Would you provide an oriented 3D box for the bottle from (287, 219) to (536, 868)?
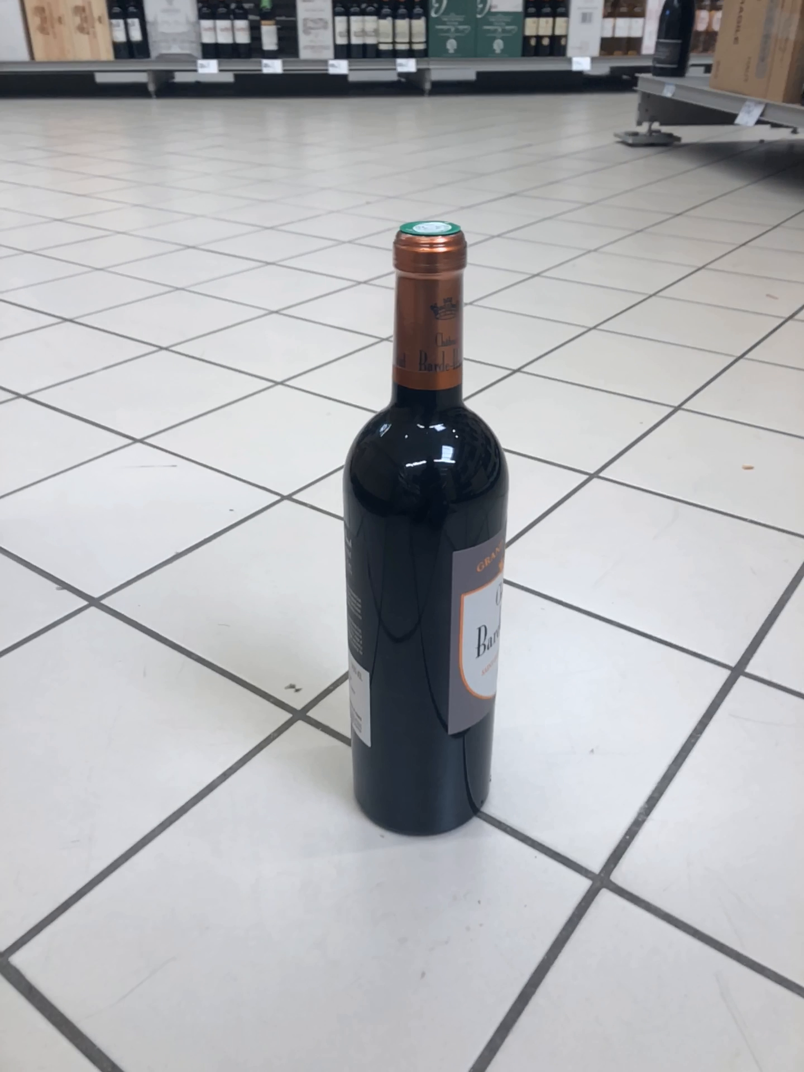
[{"bbox_3d":[0.008,0.015,0.405,0.080,0.288,0.081,0,30,0],"label":"bottle"}]
